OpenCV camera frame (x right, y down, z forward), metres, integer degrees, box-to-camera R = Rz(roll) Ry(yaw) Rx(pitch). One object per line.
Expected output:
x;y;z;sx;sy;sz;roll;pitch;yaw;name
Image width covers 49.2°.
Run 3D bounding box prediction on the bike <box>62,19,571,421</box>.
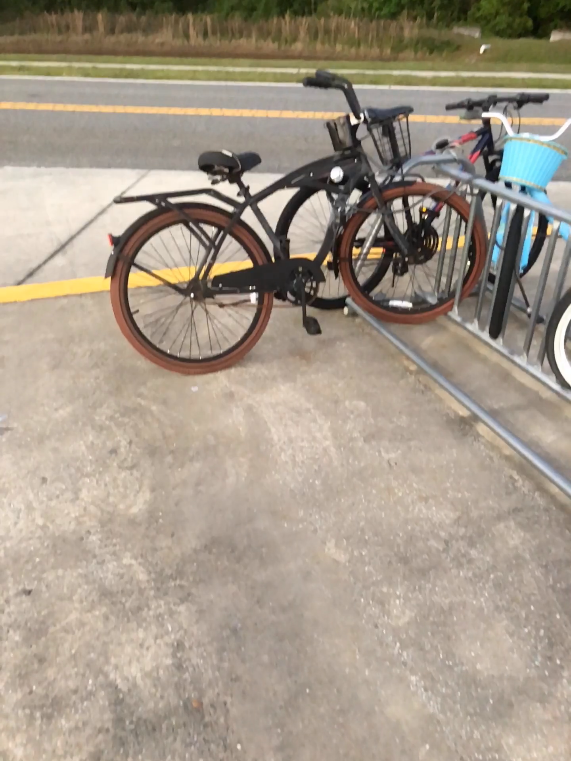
0.100;-0.772;2.668;1.721;1.116;0.833;-17;34;-18;bike
